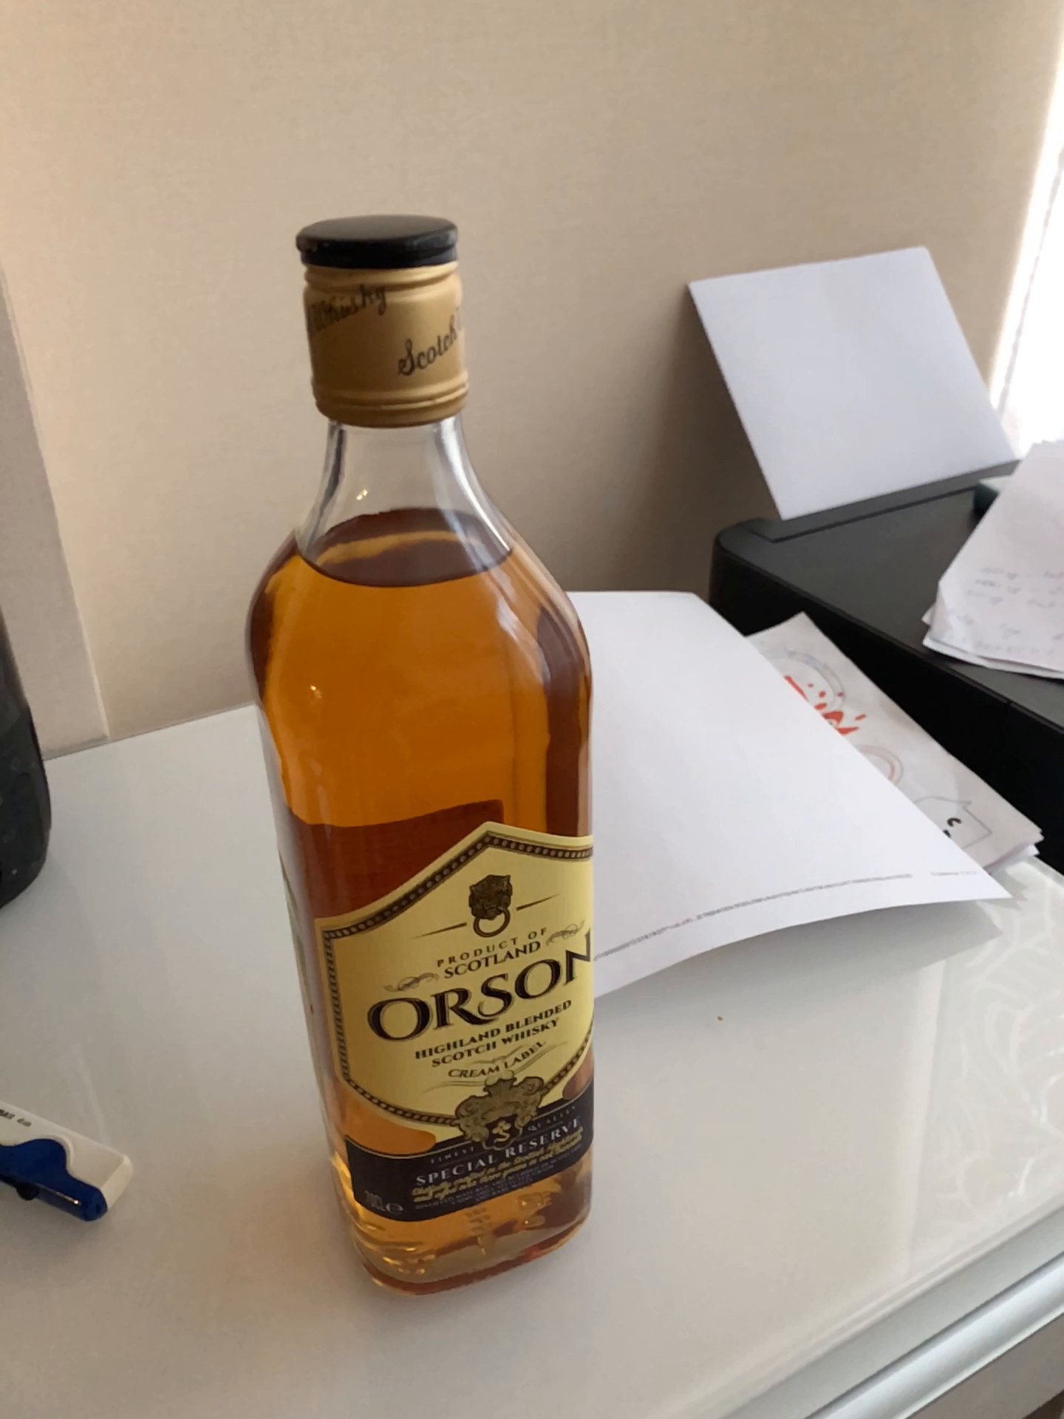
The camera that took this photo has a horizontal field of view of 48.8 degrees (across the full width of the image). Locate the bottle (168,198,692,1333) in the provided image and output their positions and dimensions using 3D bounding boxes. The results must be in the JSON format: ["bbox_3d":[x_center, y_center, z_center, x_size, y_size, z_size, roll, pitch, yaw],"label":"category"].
[{"bbox_3d":[-0.020,0.025,0.279,0.080,0.258,0.070,-11,31,-16],"label":"bottle"}]
